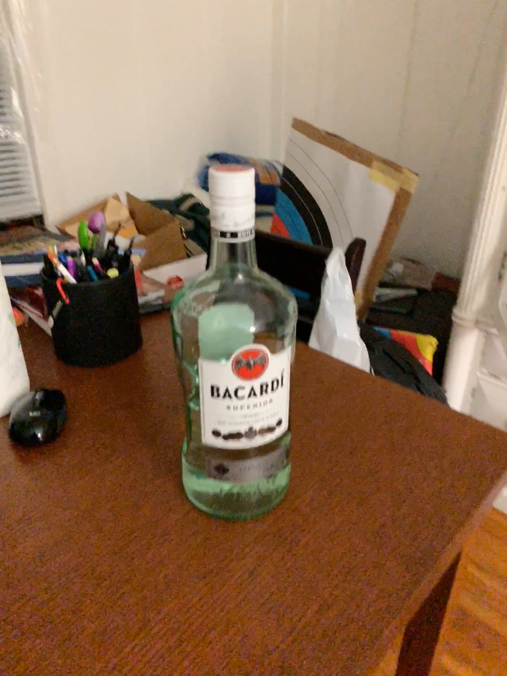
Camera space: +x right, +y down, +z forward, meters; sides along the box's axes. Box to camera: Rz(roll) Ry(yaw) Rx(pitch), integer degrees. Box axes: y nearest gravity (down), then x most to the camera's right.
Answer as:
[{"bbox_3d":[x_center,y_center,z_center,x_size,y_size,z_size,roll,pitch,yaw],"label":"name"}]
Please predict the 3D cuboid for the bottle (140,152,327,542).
[{"bbox_3d":[-0.022,0.013,0.479,0.120,0.328,0.121,0,28,0],"label":"bottle"}]
